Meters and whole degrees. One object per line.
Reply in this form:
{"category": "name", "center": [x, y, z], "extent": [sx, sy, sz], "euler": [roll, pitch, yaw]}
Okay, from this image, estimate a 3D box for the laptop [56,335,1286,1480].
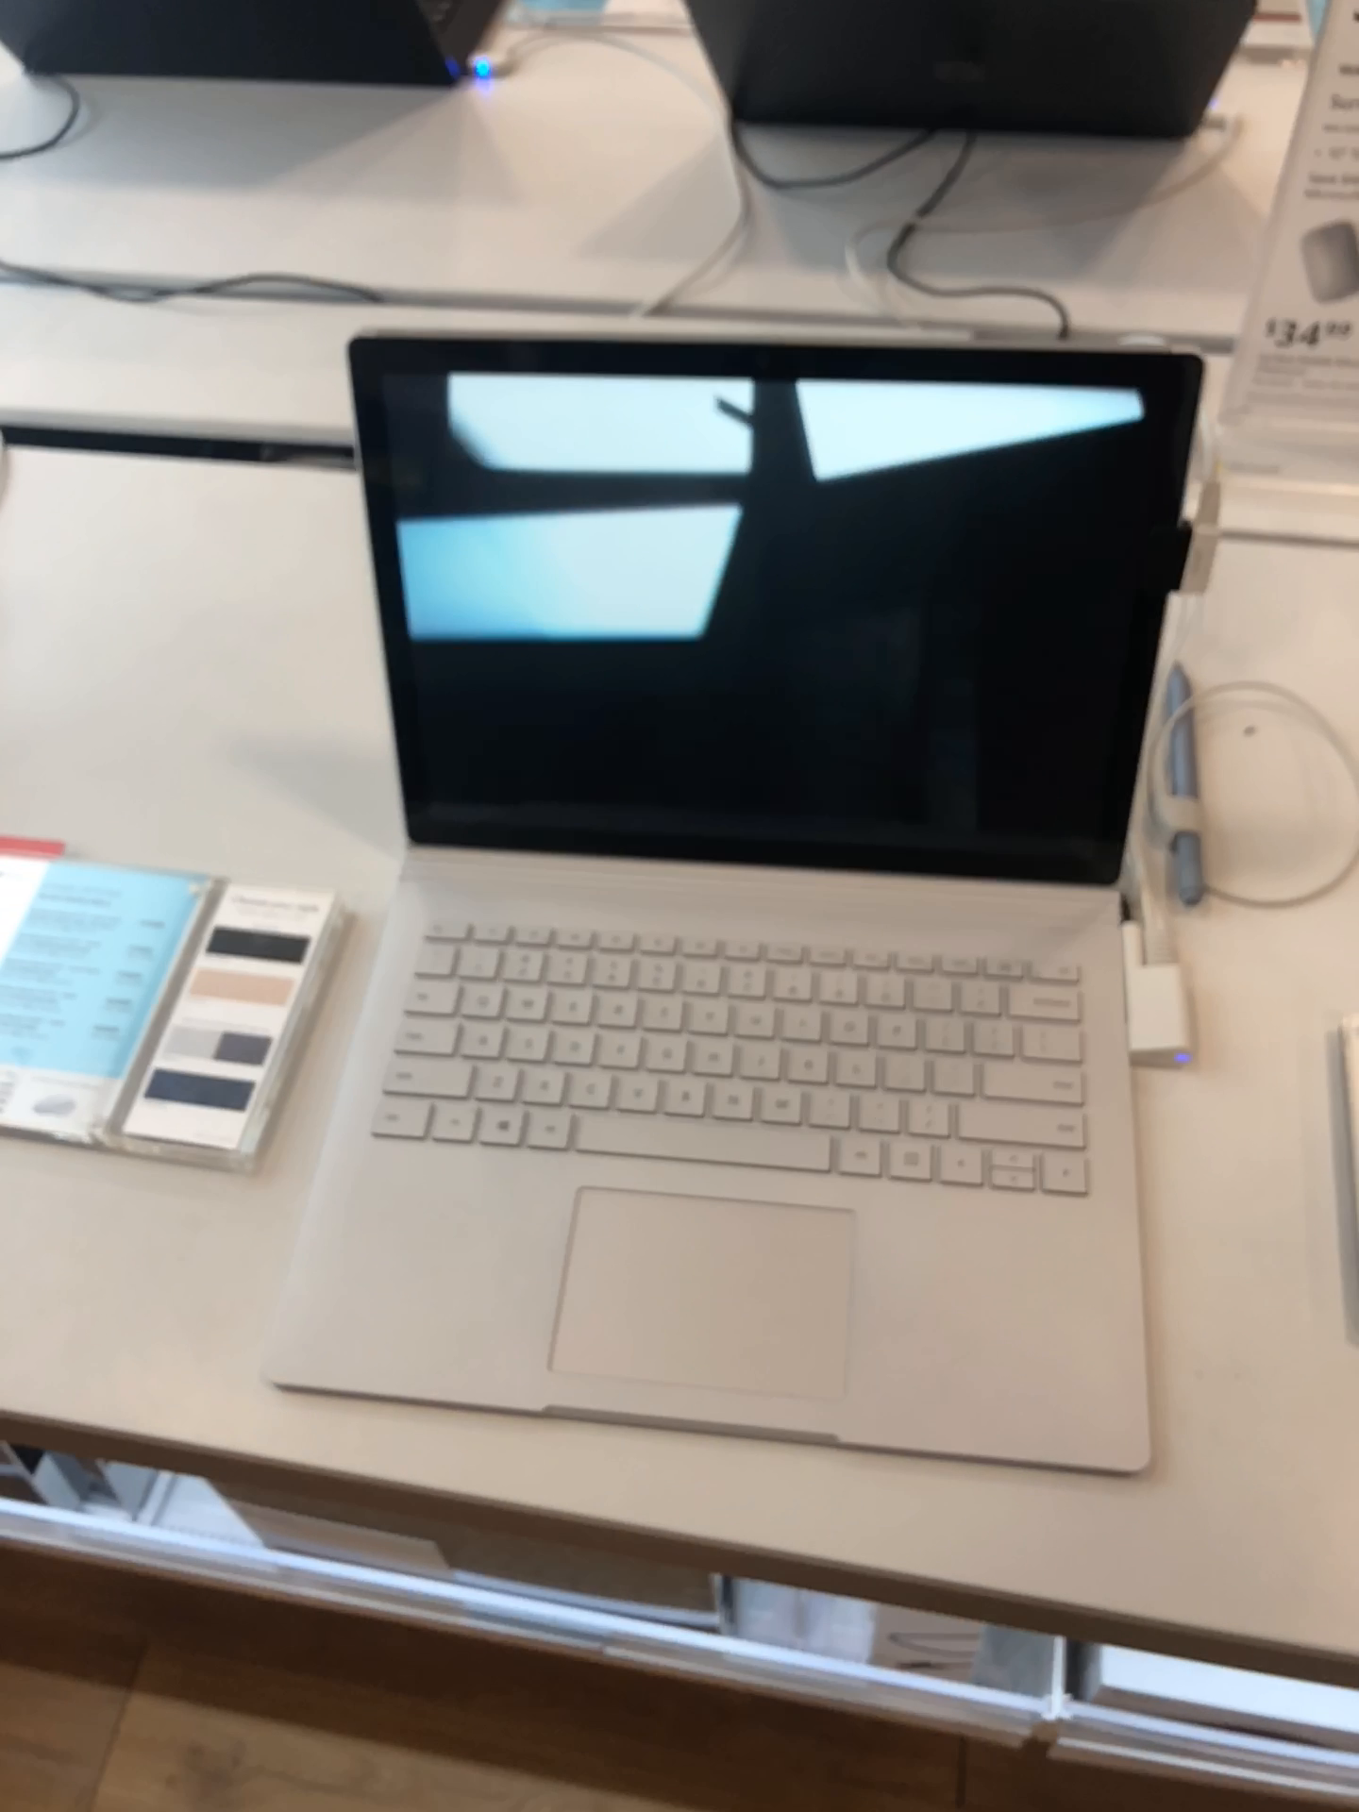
{"category": "laptop", "center": [0.014, -0.010, 0.519], "extent": [0.291, 0.191, 0.312], "euler": [4, 55, 7]}
